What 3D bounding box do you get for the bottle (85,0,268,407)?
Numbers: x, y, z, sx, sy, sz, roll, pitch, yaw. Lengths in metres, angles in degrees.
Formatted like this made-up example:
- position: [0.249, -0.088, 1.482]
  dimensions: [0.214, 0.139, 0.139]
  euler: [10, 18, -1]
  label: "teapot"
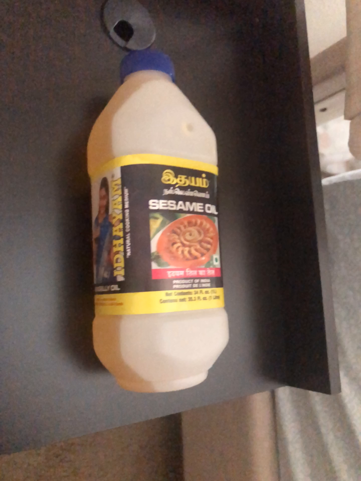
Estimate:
- position: [-0.010, -0.027, 0.294]
  dimensions: [0.091, 0.089, 0.250]
  euler: [3, 81, -33]
  label: "bottle"
